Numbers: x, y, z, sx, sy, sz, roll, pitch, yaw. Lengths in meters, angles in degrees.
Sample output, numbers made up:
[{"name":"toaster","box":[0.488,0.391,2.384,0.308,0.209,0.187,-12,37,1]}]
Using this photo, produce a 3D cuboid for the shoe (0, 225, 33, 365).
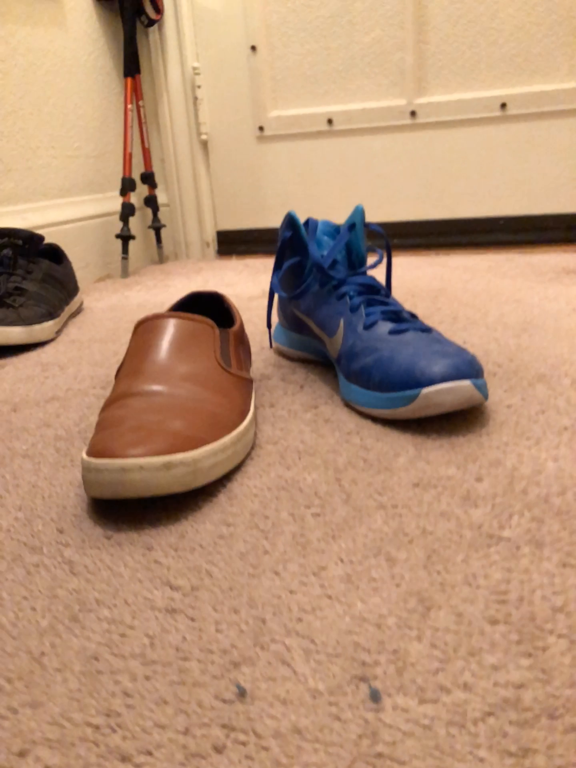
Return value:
[{"name":"shoe","box":[-0.445,-0.128,0.827,0.115,0.113,0.293,-5,20,-2]}]

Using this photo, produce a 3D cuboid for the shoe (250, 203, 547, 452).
[{"name":"shoe","box":[0.072,-0.074,0.563,0.115,0.142,0.293,-11,21,-19]}]

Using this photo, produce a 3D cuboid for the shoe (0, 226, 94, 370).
[{"name":"shoe","box":[-0.343,-0.122,0.805,0.115,0.113,0.293,-5,20,-2]}]

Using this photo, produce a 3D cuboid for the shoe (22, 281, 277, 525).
[{"name":"shoe","box":[-0.078,-0.007,0.488,0.105,0.083,0.283,-2,20,6]}]
